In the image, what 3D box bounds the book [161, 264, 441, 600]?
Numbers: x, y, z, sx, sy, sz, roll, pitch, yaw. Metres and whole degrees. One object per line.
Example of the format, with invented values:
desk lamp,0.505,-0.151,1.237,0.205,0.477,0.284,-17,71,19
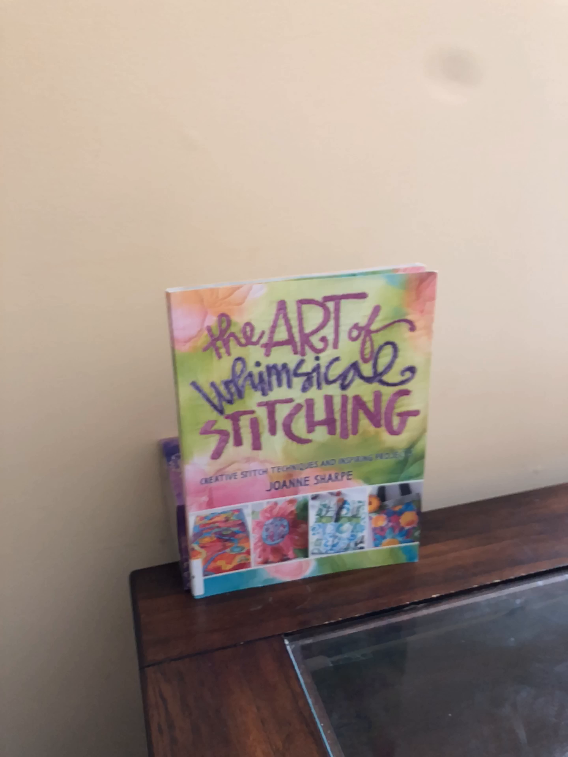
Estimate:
book,0.019,0.046,0.525,0.214,0.263,0.029,-6,19,-12
